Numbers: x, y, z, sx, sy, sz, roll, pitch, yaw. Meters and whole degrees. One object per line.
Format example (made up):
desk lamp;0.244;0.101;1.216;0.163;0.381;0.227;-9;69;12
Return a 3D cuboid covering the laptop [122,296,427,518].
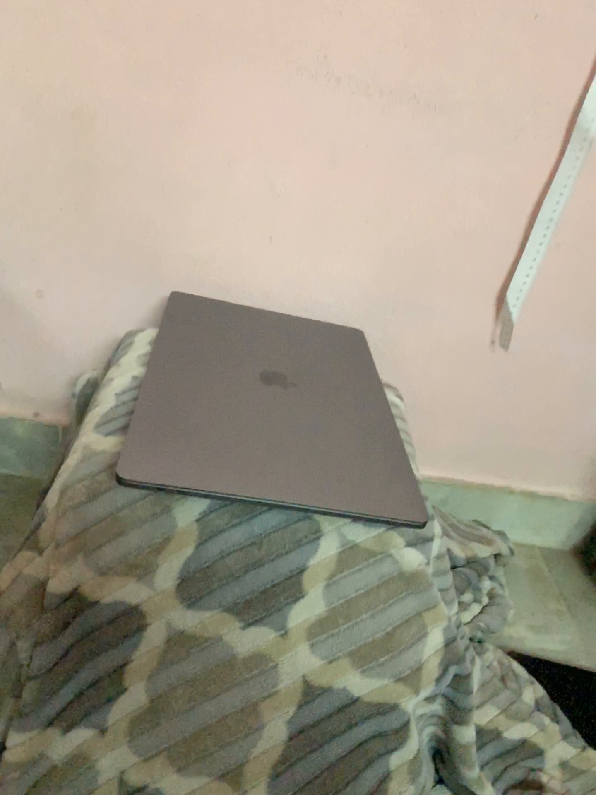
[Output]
laptop;-0.023;-0.013;0.586;0.228;0.002;0.327;9;31;-9
